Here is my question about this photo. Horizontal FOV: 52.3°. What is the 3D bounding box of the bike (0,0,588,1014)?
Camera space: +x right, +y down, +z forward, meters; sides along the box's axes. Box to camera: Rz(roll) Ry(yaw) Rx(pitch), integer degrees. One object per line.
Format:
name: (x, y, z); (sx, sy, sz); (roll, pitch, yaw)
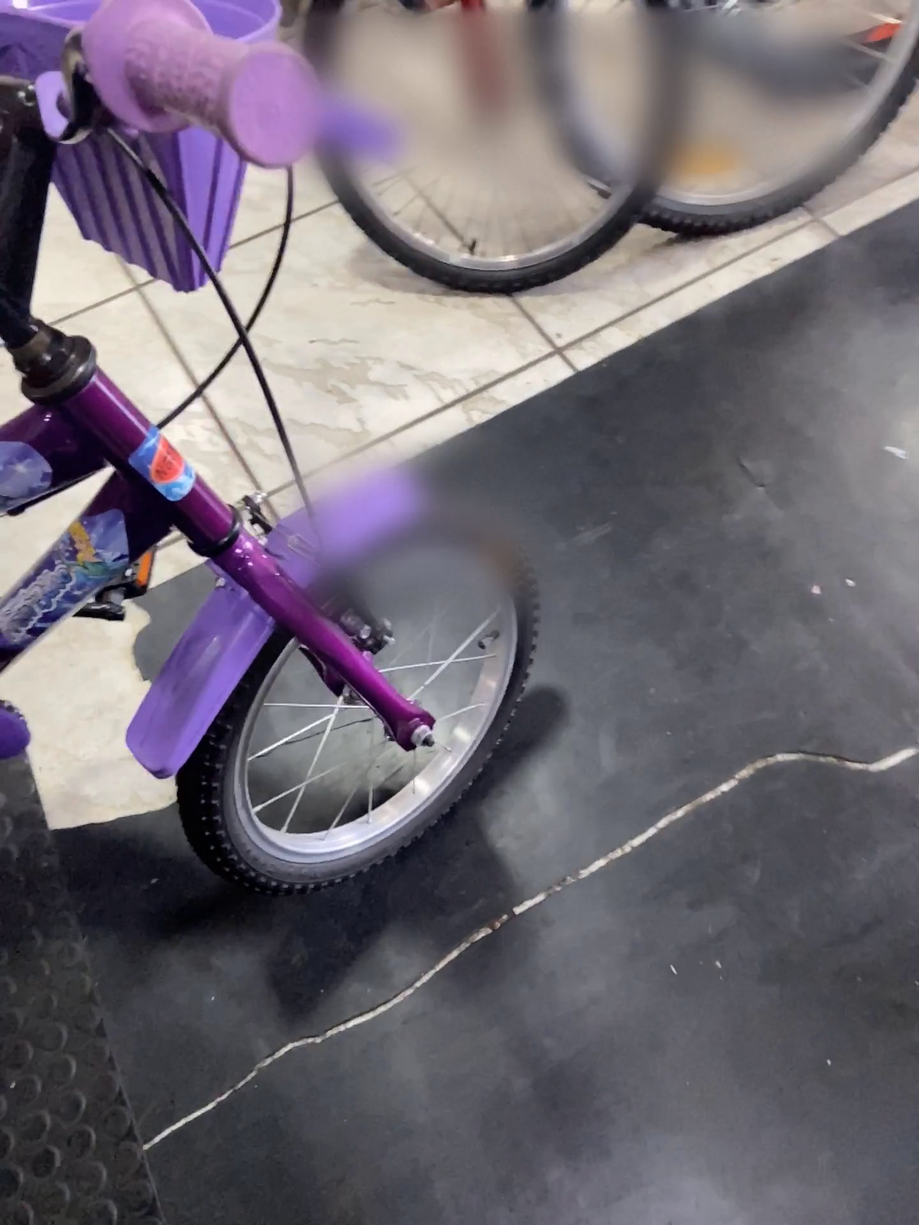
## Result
bike: (-0.448, -0.049, 0.691); (0.970, 0.743, 0.449); (-8, 60, 2)
